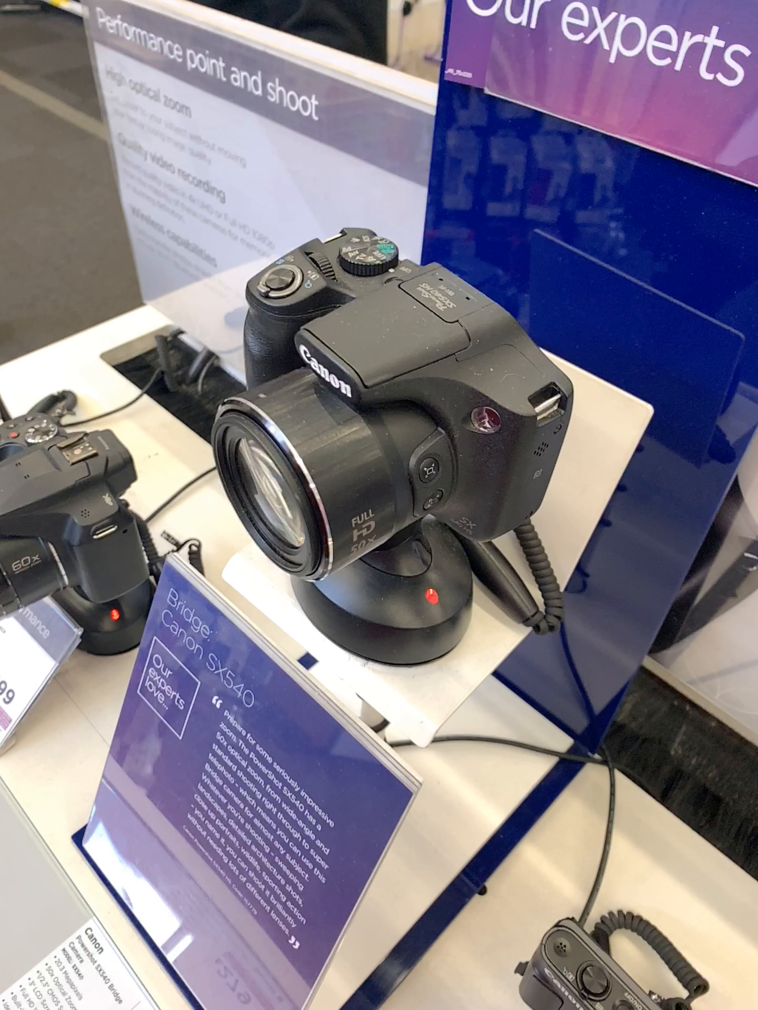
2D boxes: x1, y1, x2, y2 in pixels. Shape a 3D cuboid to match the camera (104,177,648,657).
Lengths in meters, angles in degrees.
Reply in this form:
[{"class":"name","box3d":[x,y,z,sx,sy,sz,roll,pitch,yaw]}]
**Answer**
[{"class":"camera","box3d":[-0.004,-0.039,0.256,0.110,0.069,0.121,-29,53,-28]}]
